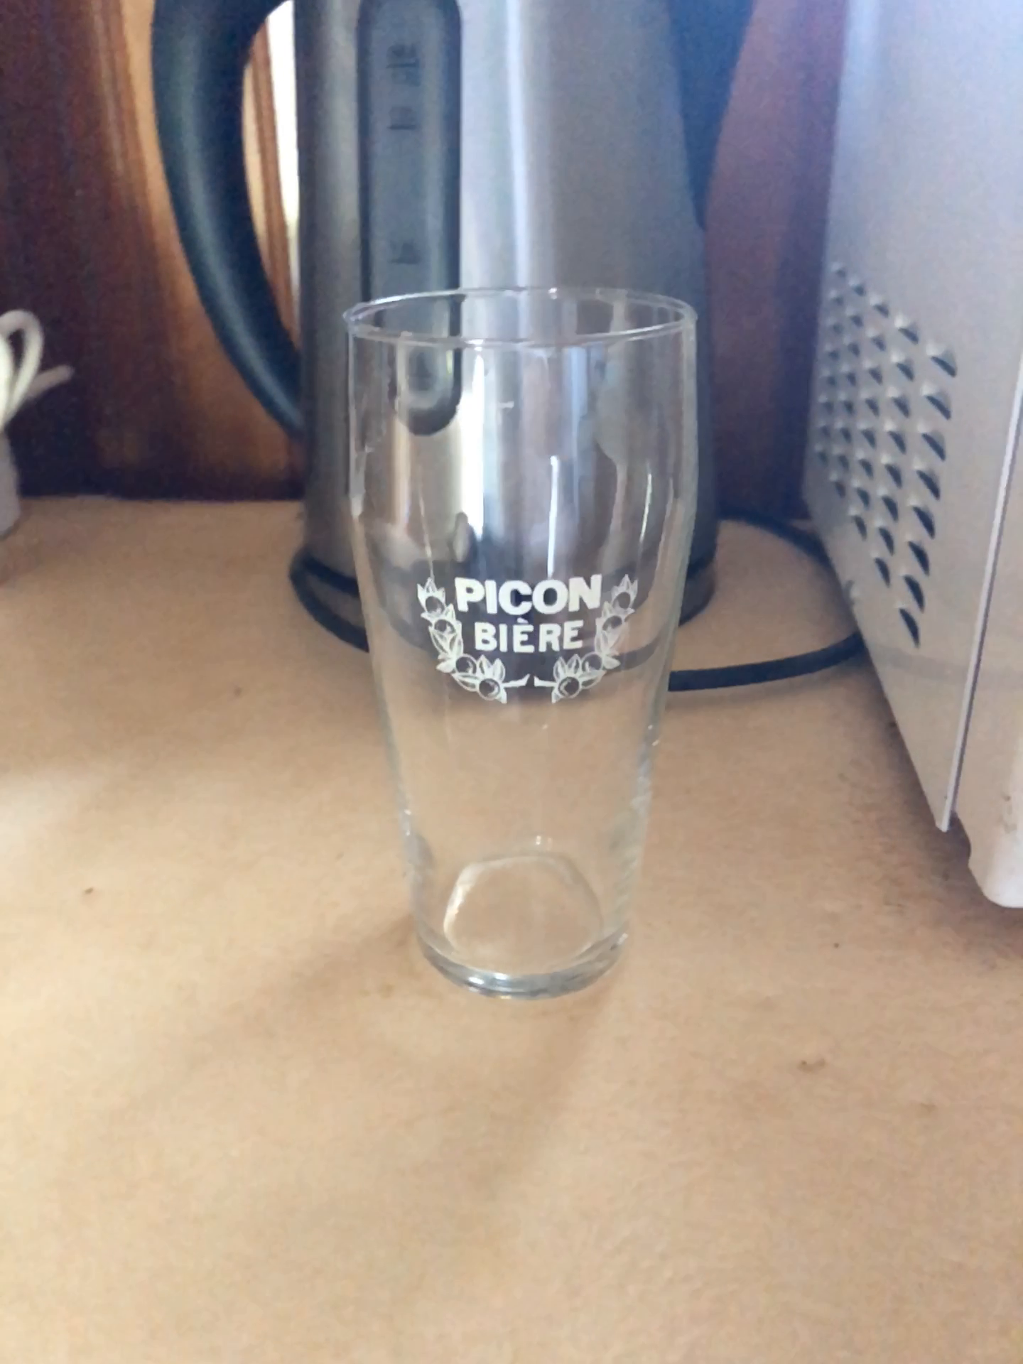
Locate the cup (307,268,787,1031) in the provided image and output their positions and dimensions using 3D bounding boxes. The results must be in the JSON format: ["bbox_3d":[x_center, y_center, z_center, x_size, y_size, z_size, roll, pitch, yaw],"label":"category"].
[{"bbox_3d":[0.004,-0.008,0.225,0.070,0.129,0.070,-1,26,0],"label":"cup"}]
